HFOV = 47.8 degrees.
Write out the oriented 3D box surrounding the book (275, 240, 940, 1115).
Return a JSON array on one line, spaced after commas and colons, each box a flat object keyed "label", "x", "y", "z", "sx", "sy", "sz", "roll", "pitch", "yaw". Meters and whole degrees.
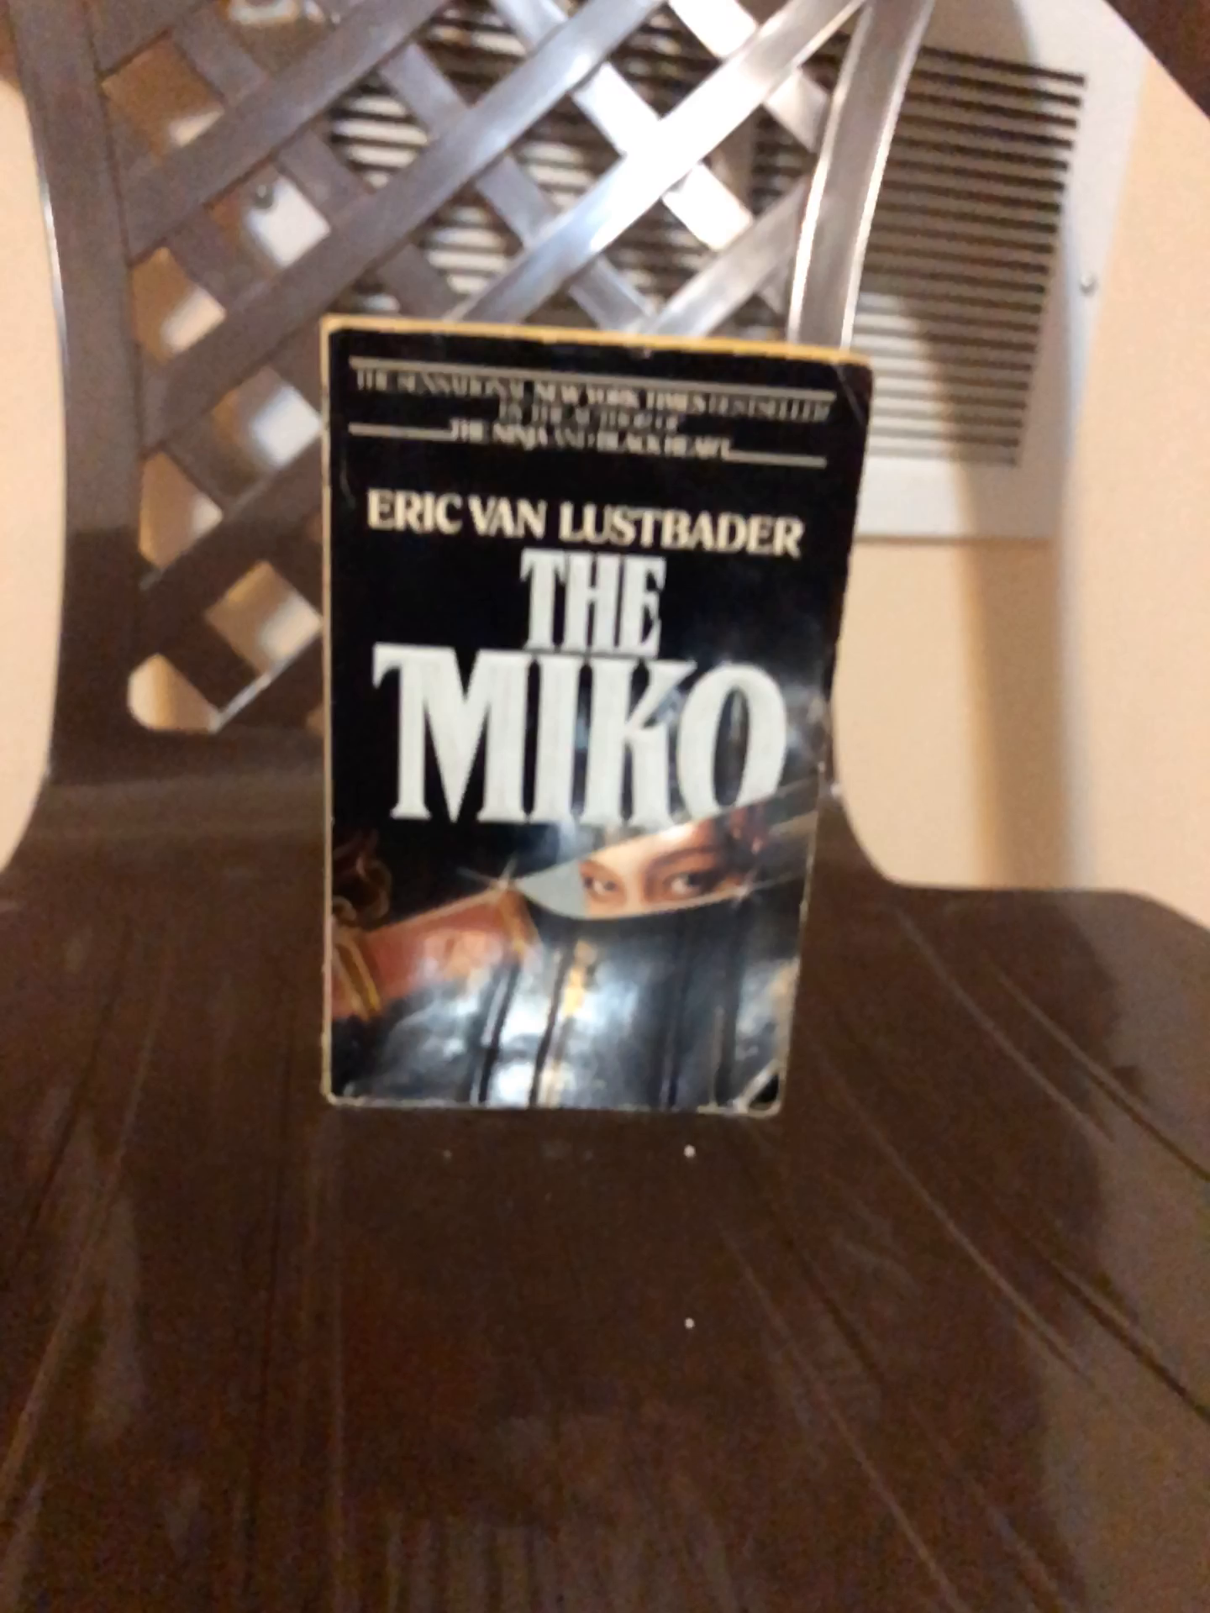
[{"label": "book", "x": -0.005, "y": -0.022, "z": 0.291, "sx": 0.120, "sy": 0.169, "sz": 0.040, "roll": 3, "pitch": 15, "yaw": -7}]
